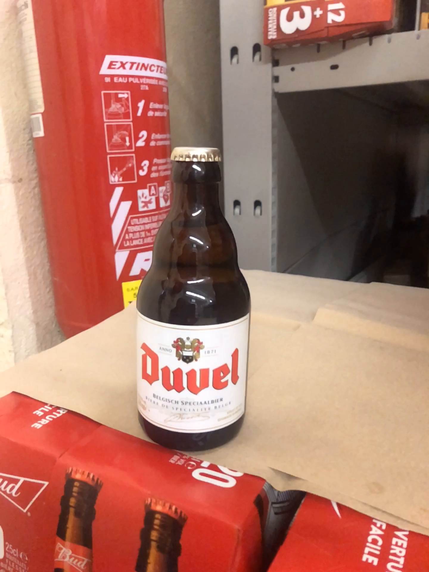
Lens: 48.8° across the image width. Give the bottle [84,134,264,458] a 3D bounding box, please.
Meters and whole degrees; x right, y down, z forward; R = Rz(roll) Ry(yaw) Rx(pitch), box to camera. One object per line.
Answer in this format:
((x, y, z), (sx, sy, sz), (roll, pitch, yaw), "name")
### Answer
((-0.015, 0.002, 0.279), (0.080, 0.169, 0.070), (1, 15, 12), "bottle")
